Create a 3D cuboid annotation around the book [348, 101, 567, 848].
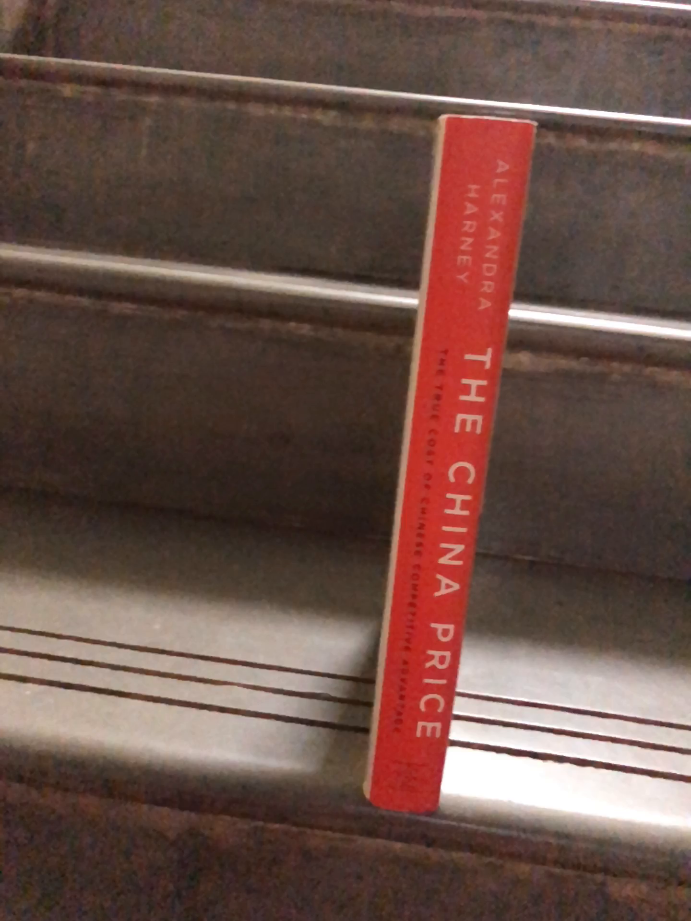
[{"bbox_3d":[0.042,-0.005,0.327,0.040,0.239,0.181,6,15,6],"label":"book"}]
